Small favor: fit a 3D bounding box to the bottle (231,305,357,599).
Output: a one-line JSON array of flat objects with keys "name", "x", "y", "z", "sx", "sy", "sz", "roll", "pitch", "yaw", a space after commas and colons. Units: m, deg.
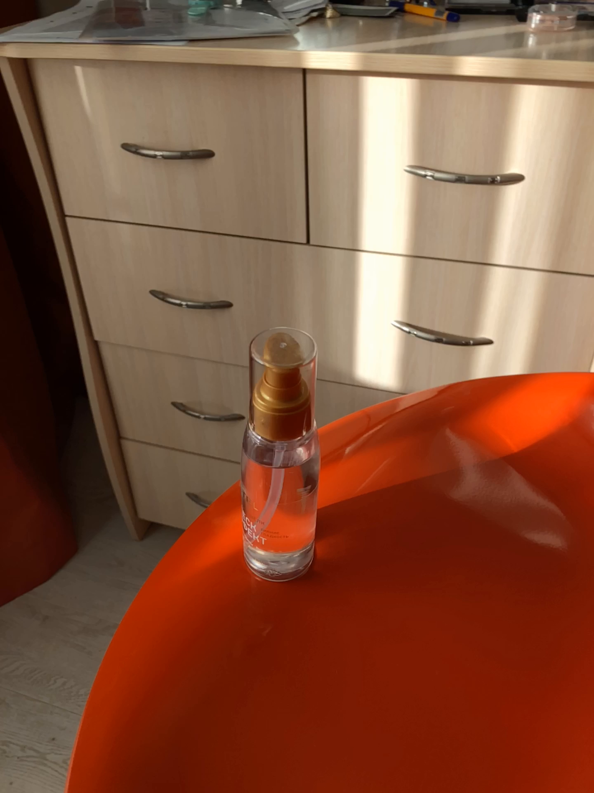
[{"name": "bottle", "x": -0.003, "y": 0.034, "z": 0.325, "sx": 0.050, "sy": 0.149, "sz": 0.050, "roll": 2, "pitch": 40, "yaw": -2}]
